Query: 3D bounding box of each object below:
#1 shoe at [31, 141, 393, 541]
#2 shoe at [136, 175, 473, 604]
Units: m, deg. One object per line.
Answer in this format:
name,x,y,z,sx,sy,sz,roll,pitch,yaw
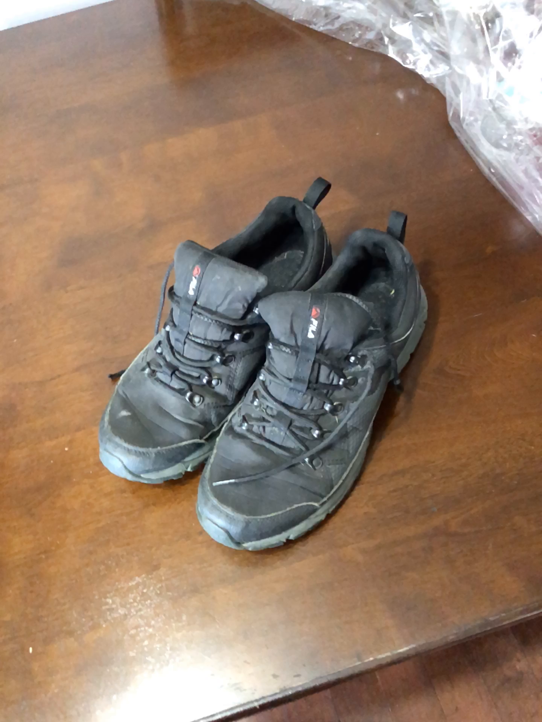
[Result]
shoe,-0.029,-0.022,0.558,0.120,0.170,0.320,31,67,22
shoe,0.045,0.017,0.519,0.120,0.150,0.320,24,64,19
